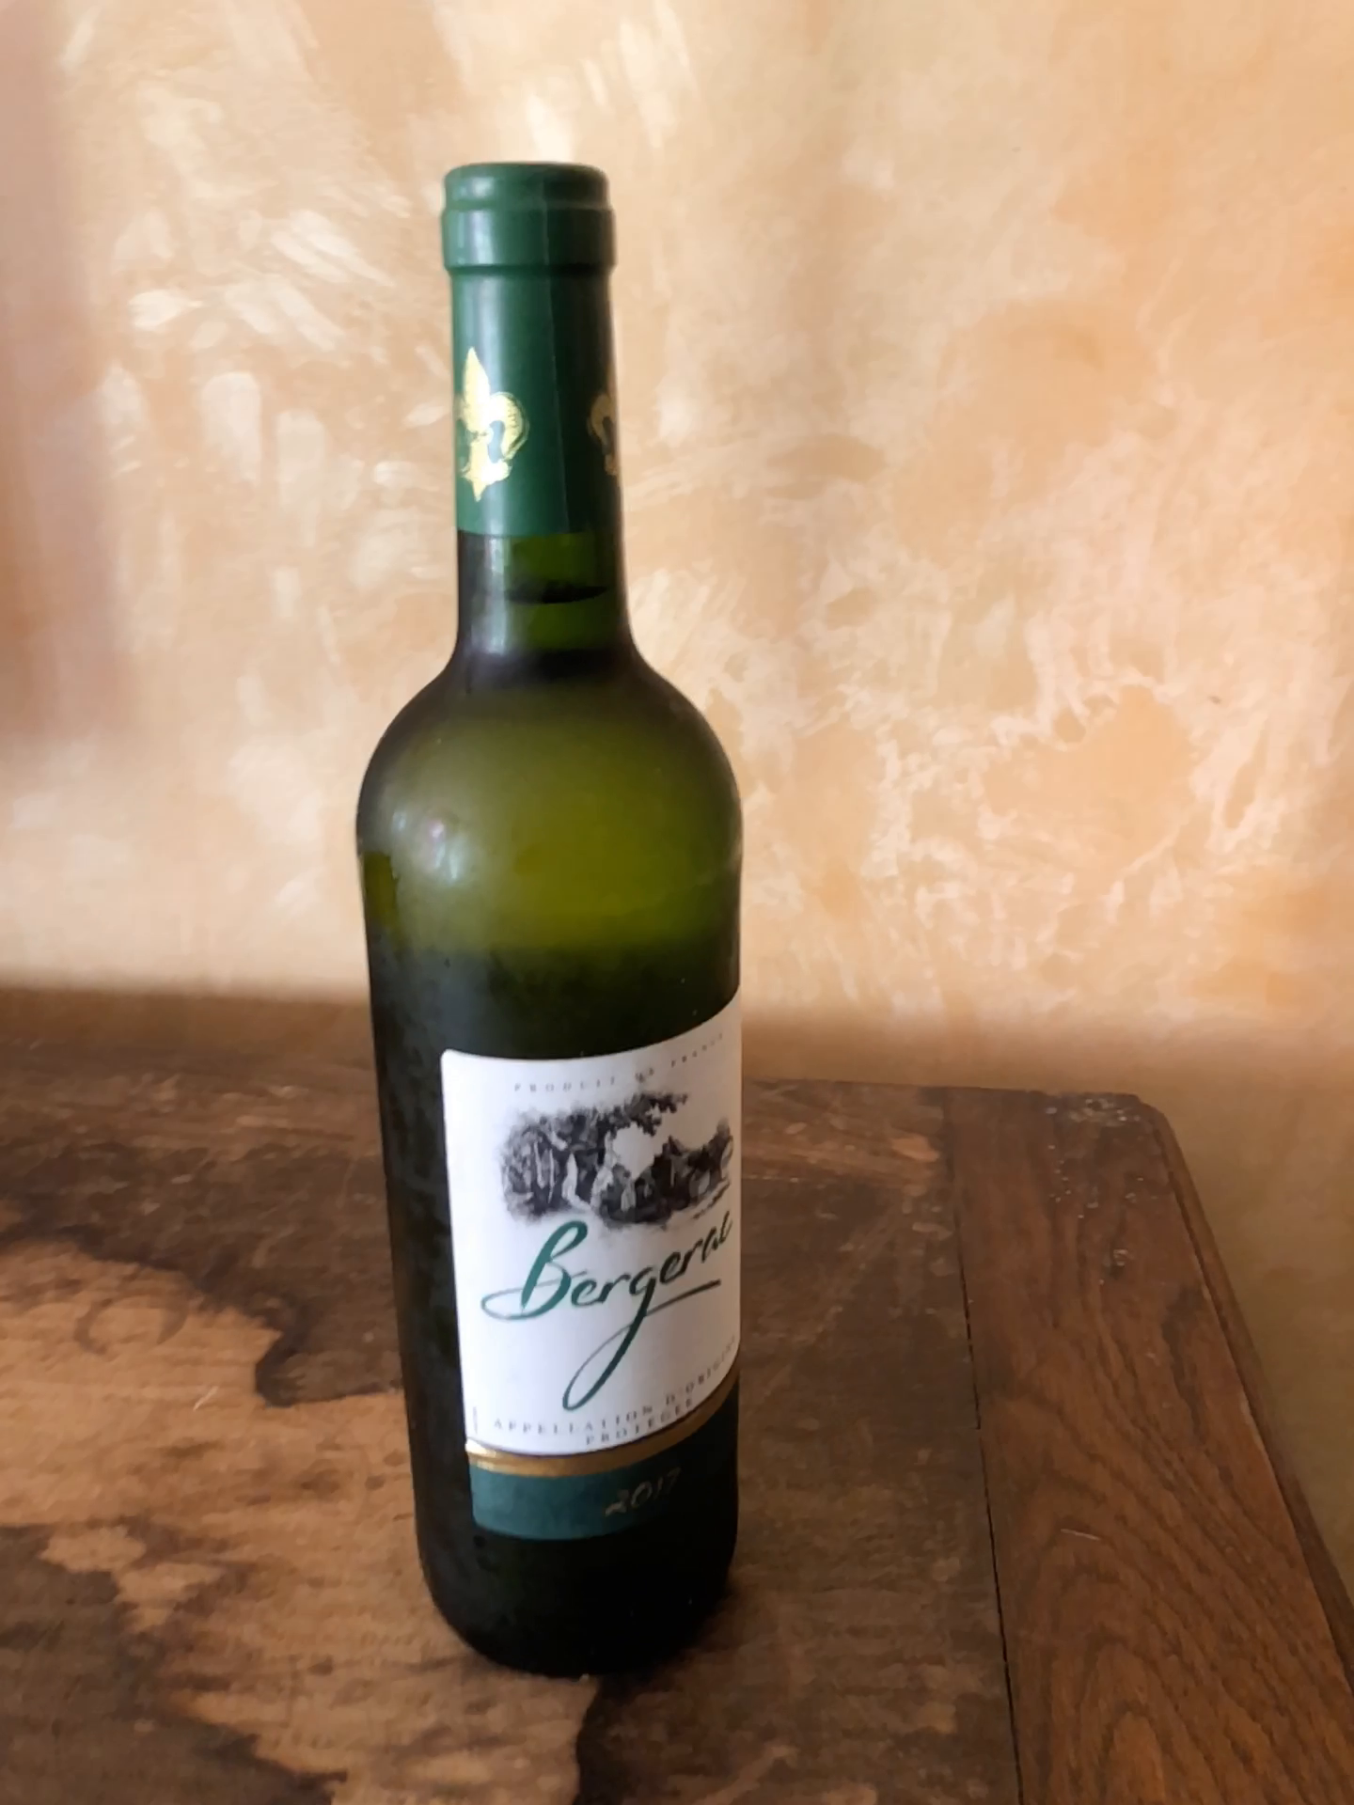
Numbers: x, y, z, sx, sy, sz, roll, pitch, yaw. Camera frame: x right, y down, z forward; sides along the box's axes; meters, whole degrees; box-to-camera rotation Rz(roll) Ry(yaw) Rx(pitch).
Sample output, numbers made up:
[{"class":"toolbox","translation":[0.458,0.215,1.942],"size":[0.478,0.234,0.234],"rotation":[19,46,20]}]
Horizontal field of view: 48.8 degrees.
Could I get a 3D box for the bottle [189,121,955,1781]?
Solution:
[{"class":"bottle","translation":[-0.024,0.012,0.278],"size":[0.090,0.269,0.090],"rotation":[1,22,0]}]
